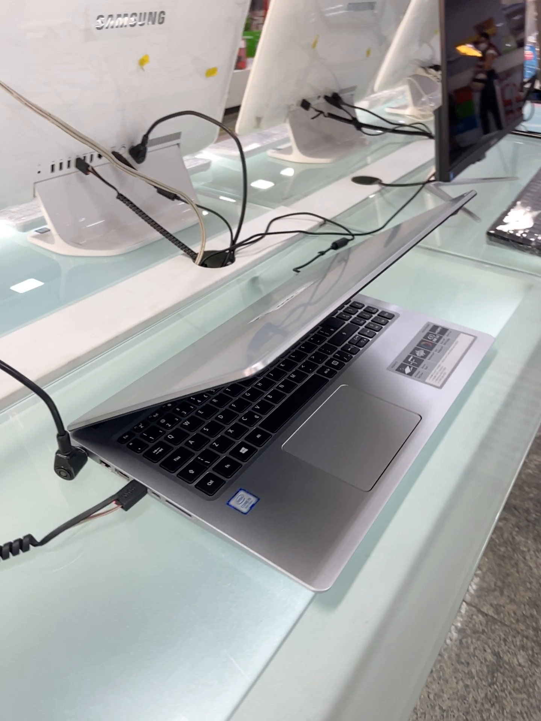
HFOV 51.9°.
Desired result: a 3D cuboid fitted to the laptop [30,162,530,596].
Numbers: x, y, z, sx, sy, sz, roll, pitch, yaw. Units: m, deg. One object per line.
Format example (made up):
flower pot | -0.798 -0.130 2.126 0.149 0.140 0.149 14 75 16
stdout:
laptop | 0.039 -0.040 0.472 0.236 0.138 0.362 22 39 27
